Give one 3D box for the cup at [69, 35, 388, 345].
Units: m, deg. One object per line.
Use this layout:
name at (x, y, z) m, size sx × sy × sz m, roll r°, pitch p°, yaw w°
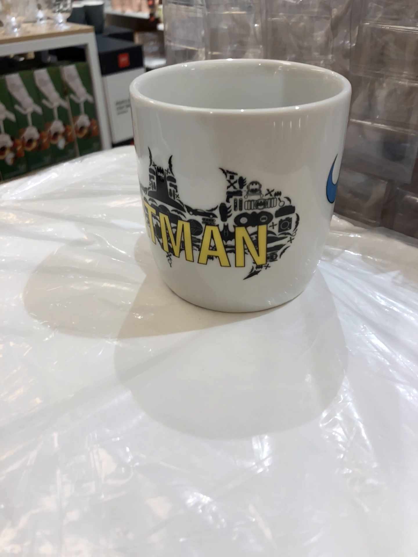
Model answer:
cup at (0.001, -0.050, 0.214) m, size 0.080 × 0.089 × 0.111 m, roll -20°, pitch 39°, yaw -25°
